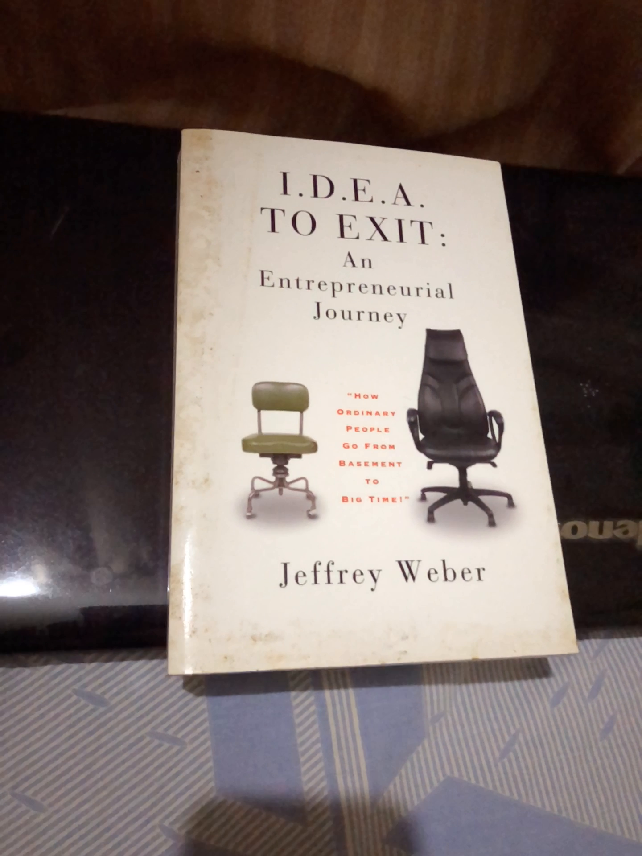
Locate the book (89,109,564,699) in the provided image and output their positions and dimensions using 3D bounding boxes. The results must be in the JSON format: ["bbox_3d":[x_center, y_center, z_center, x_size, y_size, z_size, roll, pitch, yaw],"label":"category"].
[{"bbox_3d":[-0.002,-0.020,0.296,0.160,0.030,0.240,2,67,-12],"label":"book"}]
